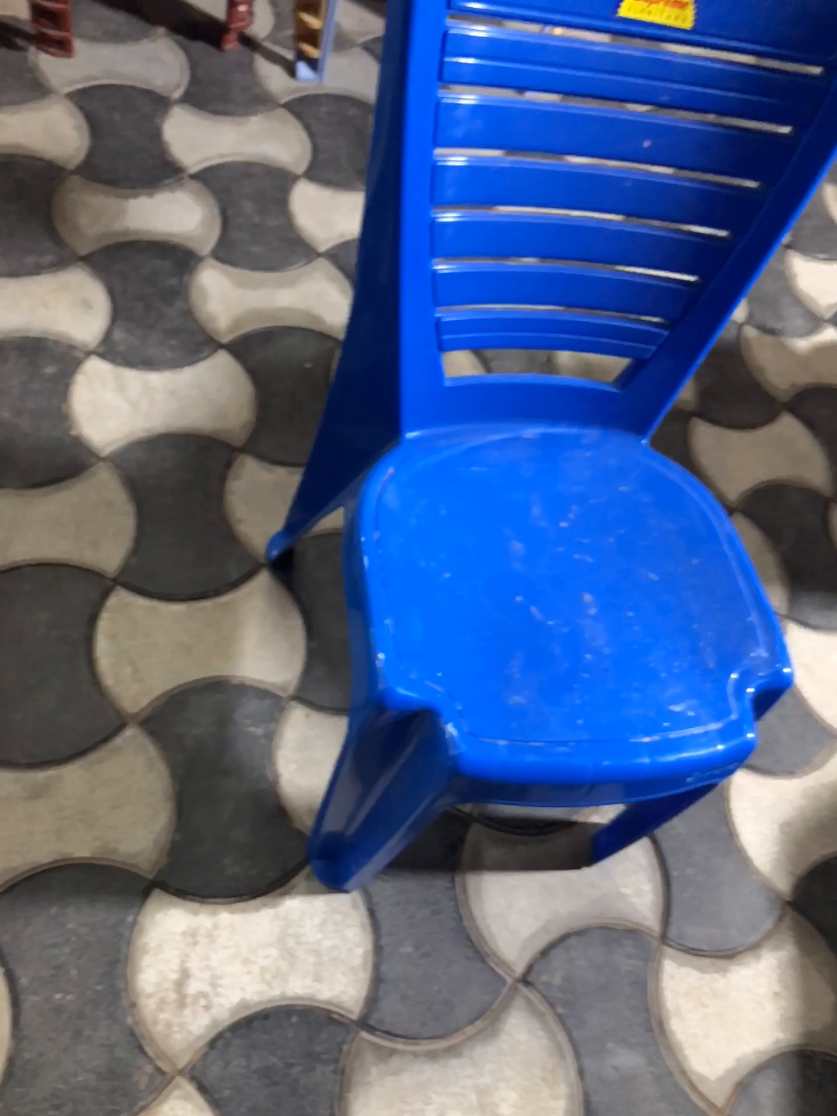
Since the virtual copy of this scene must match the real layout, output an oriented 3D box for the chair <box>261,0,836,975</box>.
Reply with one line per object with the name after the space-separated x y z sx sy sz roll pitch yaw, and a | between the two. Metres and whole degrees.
0.146 -0.028 0.727 0.471 0.726 0.512 1 58 -14 | chair
